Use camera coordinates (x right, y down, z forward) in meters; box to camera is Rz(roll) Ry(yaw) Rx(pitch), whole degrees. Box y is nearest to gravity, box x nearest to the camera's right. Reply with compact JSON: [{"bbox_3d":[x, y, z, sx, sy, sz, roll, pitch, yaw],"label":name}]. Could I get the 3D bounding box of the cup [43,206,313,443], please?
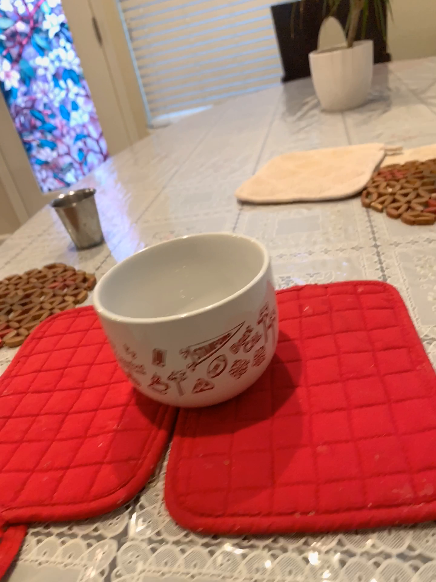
[{"bbox_3d":[-0.012,0.011,0.307,0.120,0.079,0.141,0,32,23],"label":"cup"}]
